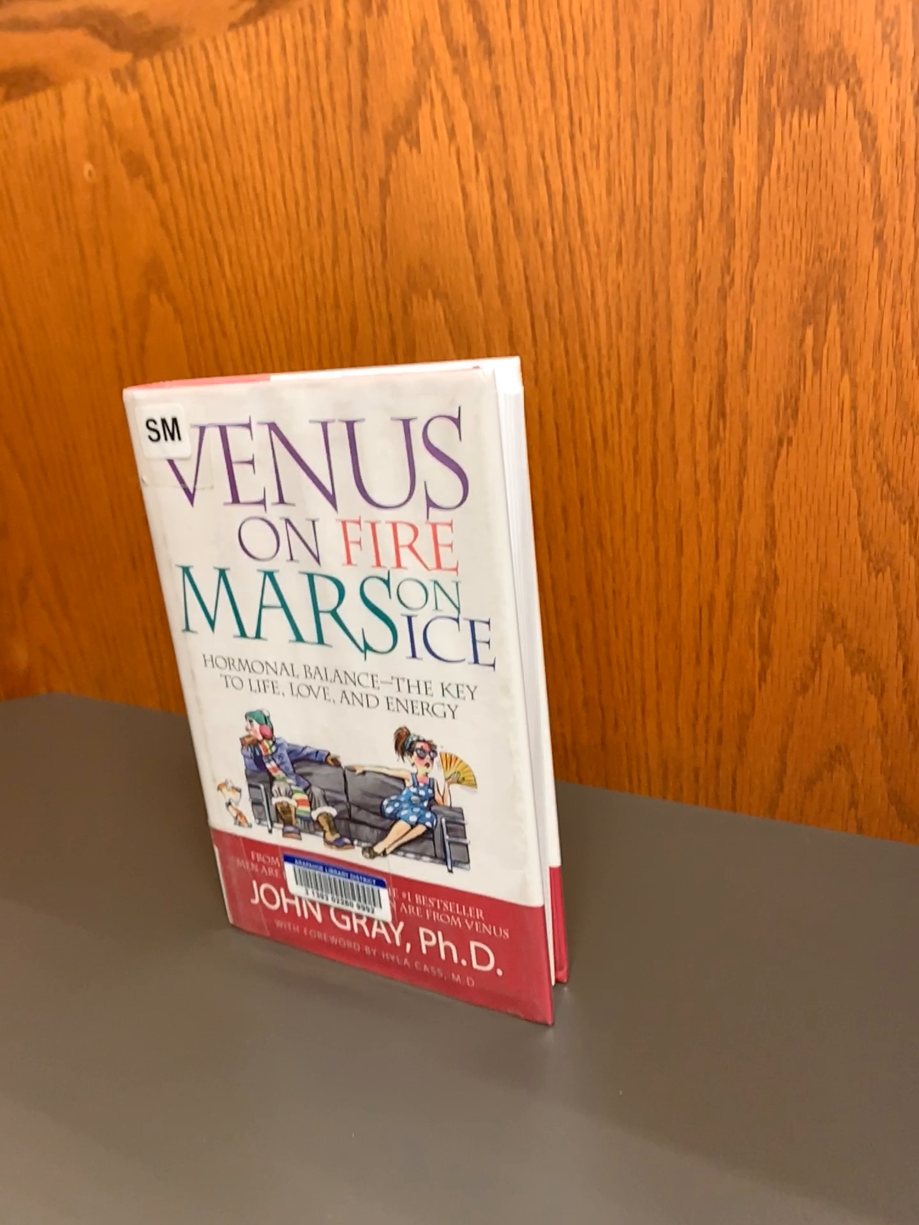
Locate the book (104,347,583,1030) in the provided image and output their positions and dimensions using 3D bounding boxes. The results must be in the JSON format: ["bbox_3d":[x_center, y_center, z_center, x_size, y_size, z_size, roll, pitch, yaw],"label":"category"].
[{"bbox_3d":[-0.040,0.025,0.341,0.154,0.220,0.033,4,19,30],"label":"book"}]
